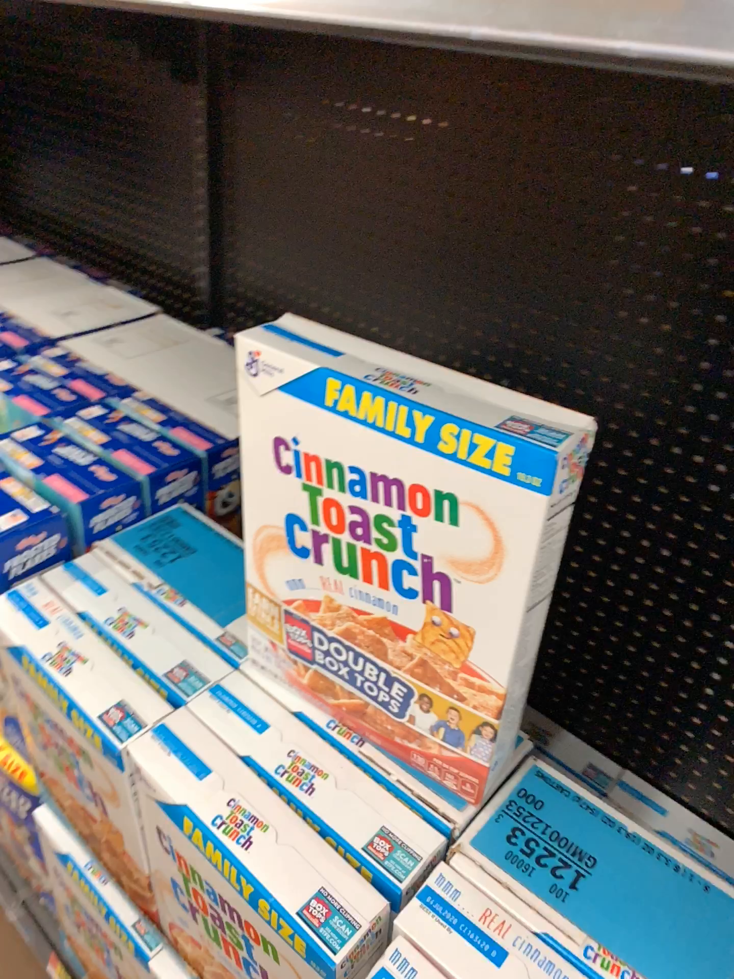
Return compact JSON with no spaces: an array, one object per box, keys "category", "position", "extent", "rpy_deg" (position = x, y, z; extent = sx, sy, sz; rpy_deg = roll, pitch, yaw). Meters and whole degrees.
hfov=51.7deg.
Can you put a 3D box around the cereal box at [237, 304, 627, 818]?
[{"category":"cereal box","position":[0.021,0.051,0.535],"extent":[0.240,0.298,0.060],"rpy_deg":[24,37,28]}]
